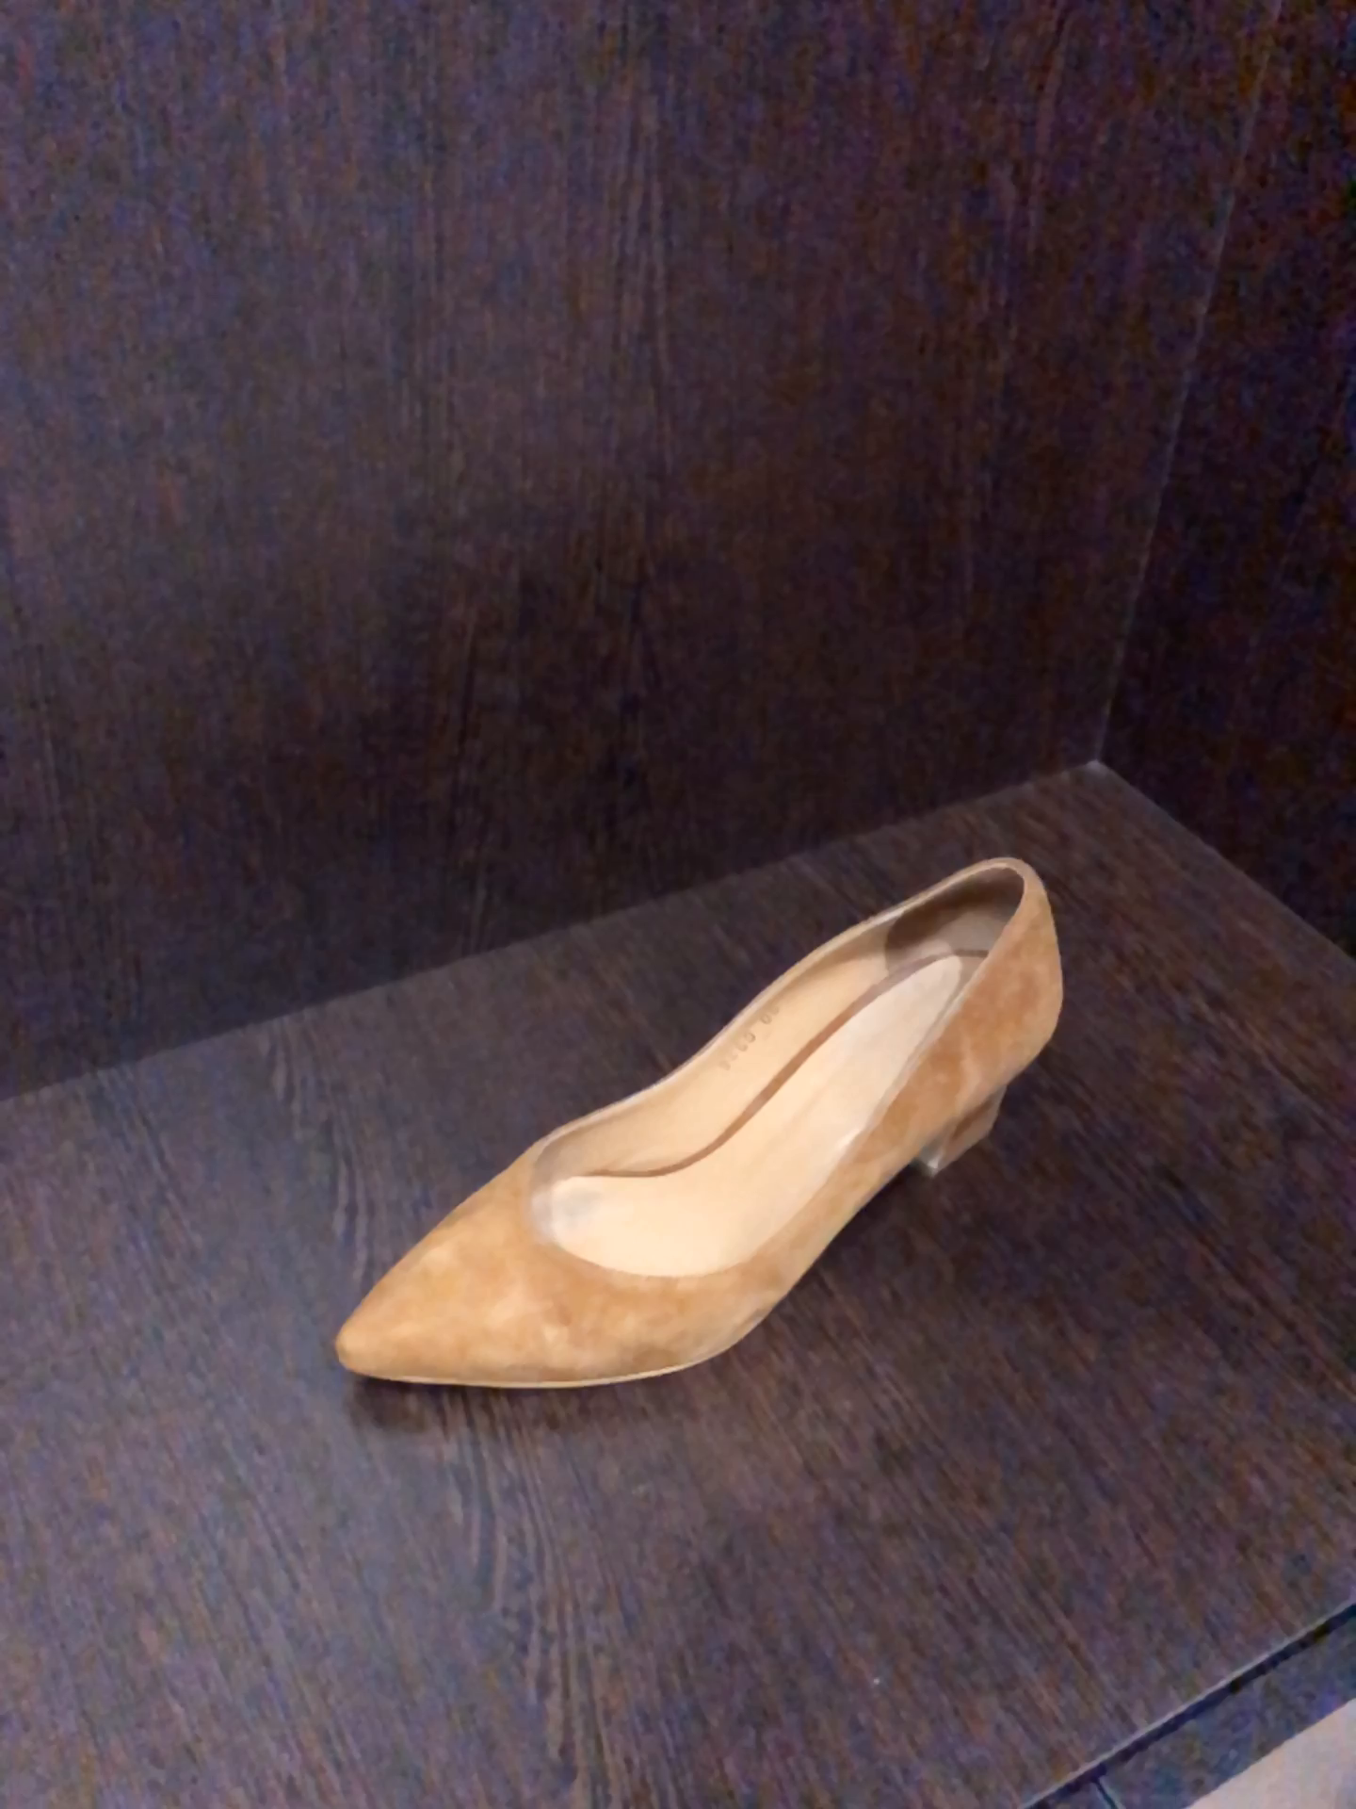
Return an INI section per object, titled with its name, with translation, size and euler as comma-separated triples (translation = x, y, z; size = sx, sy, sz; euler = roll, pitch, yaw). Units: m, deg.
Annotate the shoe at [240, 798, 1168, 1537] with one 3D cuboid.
[shoe]
translation = 0.016, 0.070, 0.475
size = 0.270, 0.100, 0.090
euler = -21, 44, -25
